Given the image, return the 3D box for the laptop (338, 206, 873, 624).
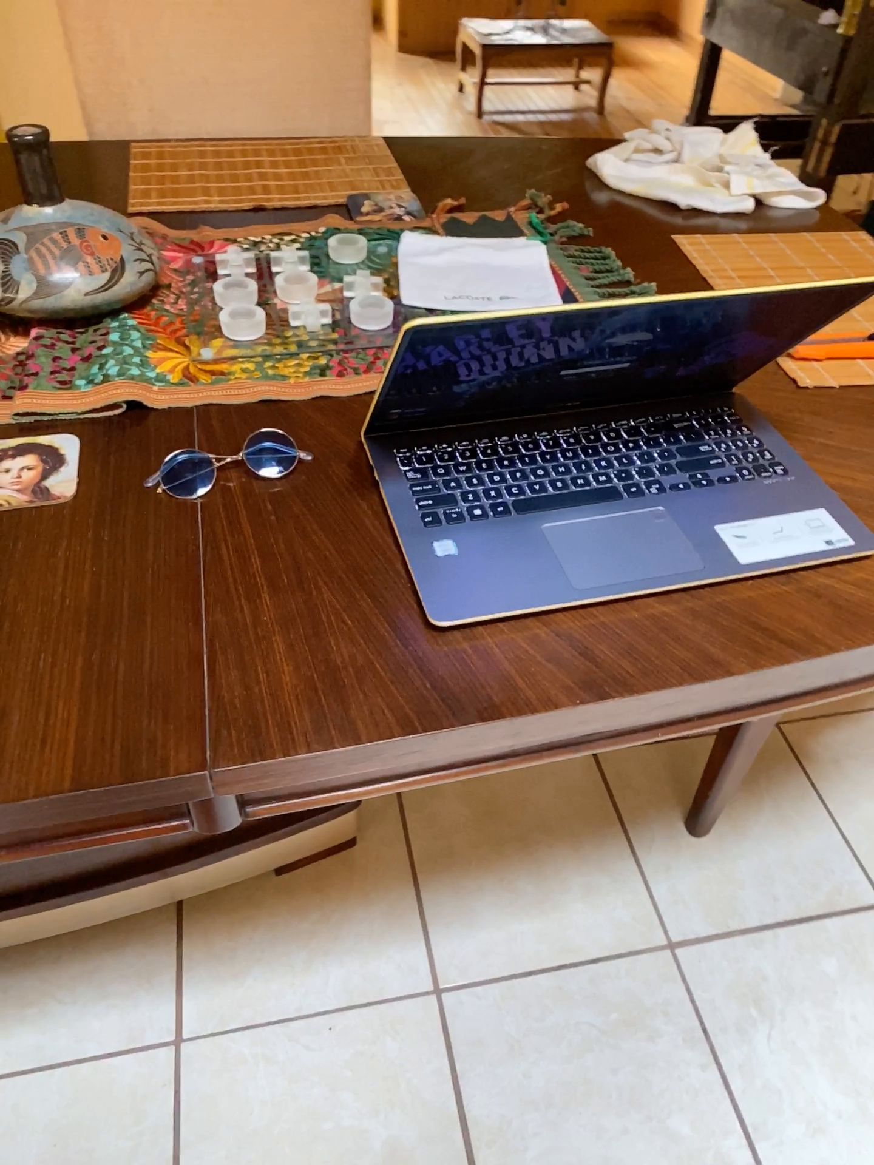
[{"bbox_3d":[0.133,-0.150,0.708,0.377,0.181,0.251,-9,44,-13],"label":"laptop"}]
